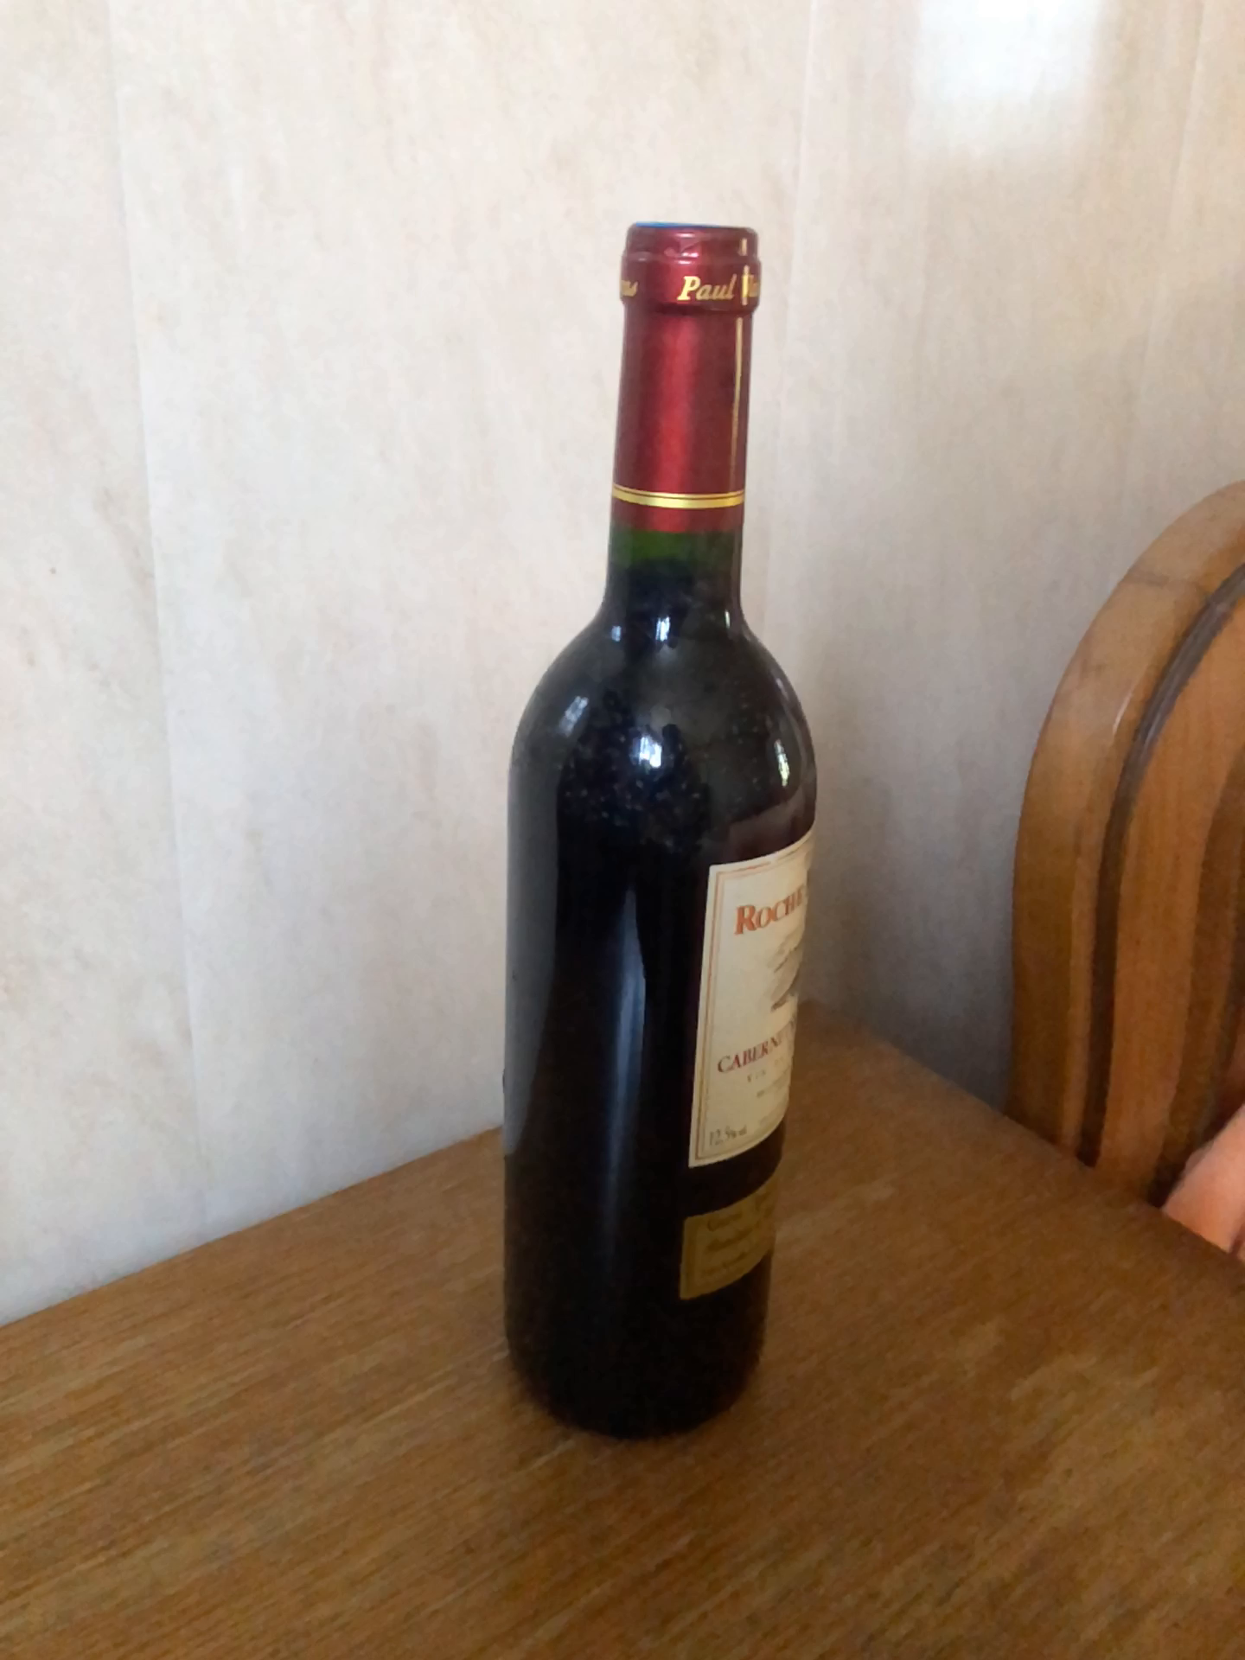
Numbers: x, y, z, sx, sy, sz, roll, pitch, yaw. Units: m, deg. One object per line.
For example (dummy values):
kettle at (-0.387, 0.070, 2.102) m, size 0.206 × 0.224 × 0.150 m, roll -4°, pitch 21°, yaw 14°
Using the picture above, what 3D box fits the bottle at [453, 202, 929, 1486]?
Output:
bottle at (0.012, 0.009, 0.346) m, size 0.080 × 0.298 × 0.080 m, roll 2°, pitch 21°, yaw -1°
